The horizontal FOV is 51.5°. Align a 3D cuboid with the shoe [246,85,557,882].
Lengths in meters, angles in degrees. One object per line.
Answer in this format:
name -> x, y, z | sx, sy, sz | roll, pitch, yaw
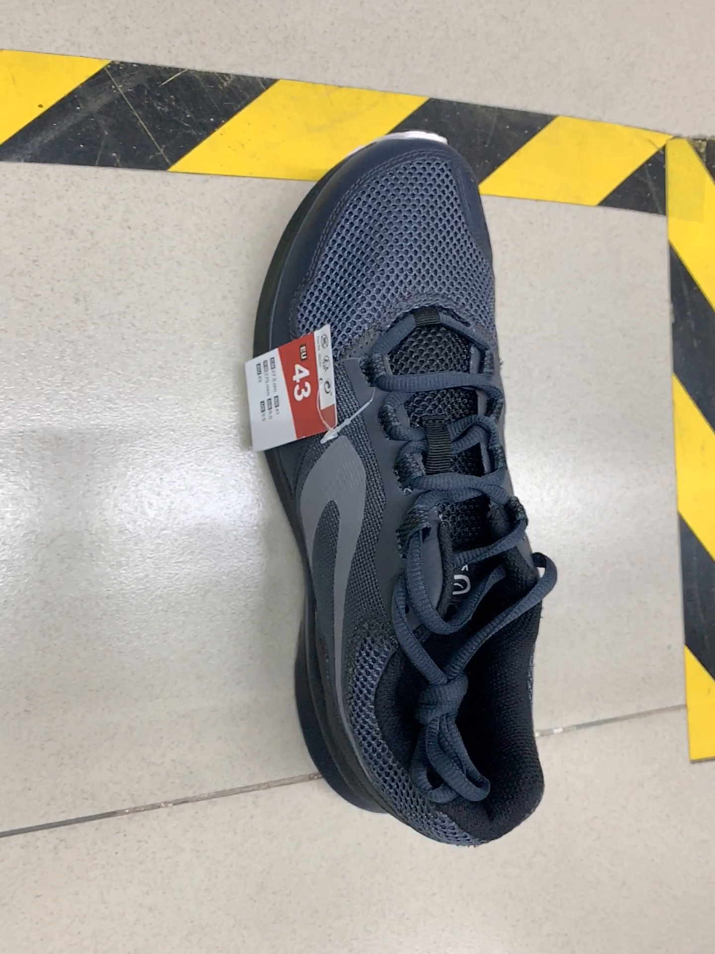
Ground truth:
shoe -> 0.015, 0.002, 0.311 | 0.110, 0.070, 0.280 | 0, 89, -19
